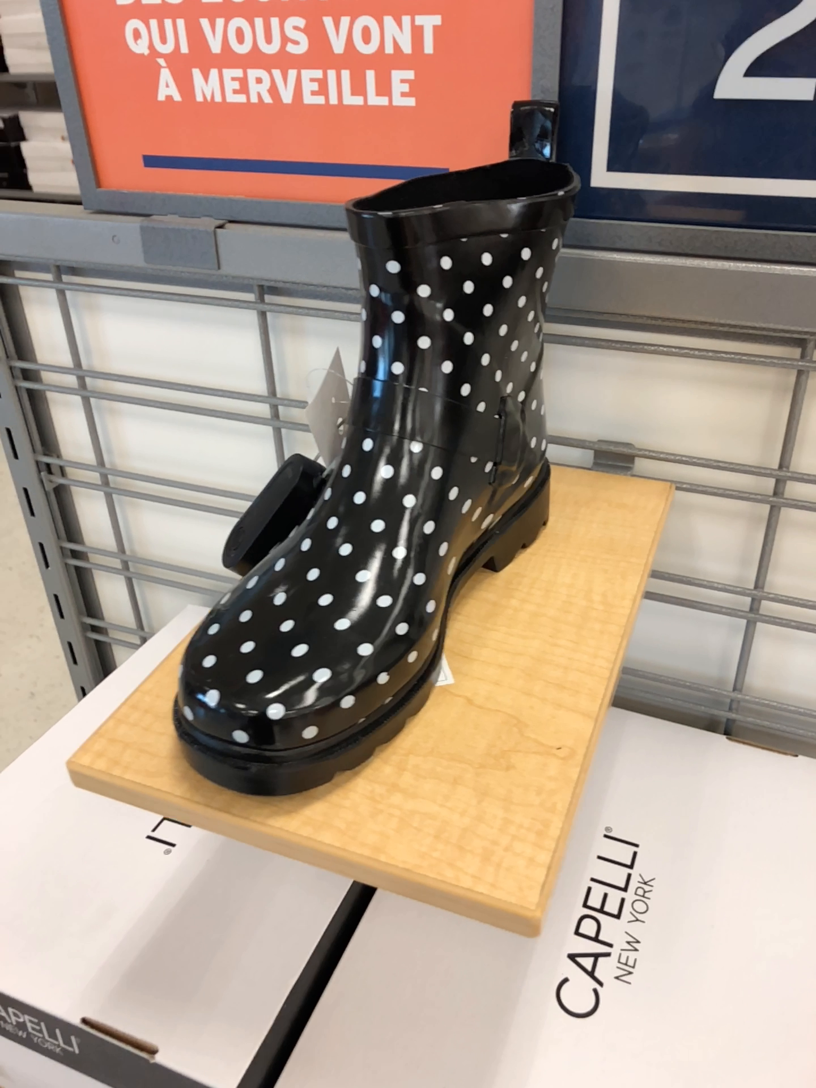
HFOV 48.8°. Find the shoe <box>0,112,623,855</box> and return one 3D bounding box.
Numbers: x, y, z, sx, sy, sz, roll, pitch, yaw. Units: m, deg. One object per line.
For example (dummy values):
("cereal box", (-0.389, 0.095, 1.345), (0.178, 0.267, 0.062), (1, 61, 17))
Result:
("shoe", (-0.003, -0.052, 0.365), (0.095, 0.188, 0.262), (13, 36, 23))
